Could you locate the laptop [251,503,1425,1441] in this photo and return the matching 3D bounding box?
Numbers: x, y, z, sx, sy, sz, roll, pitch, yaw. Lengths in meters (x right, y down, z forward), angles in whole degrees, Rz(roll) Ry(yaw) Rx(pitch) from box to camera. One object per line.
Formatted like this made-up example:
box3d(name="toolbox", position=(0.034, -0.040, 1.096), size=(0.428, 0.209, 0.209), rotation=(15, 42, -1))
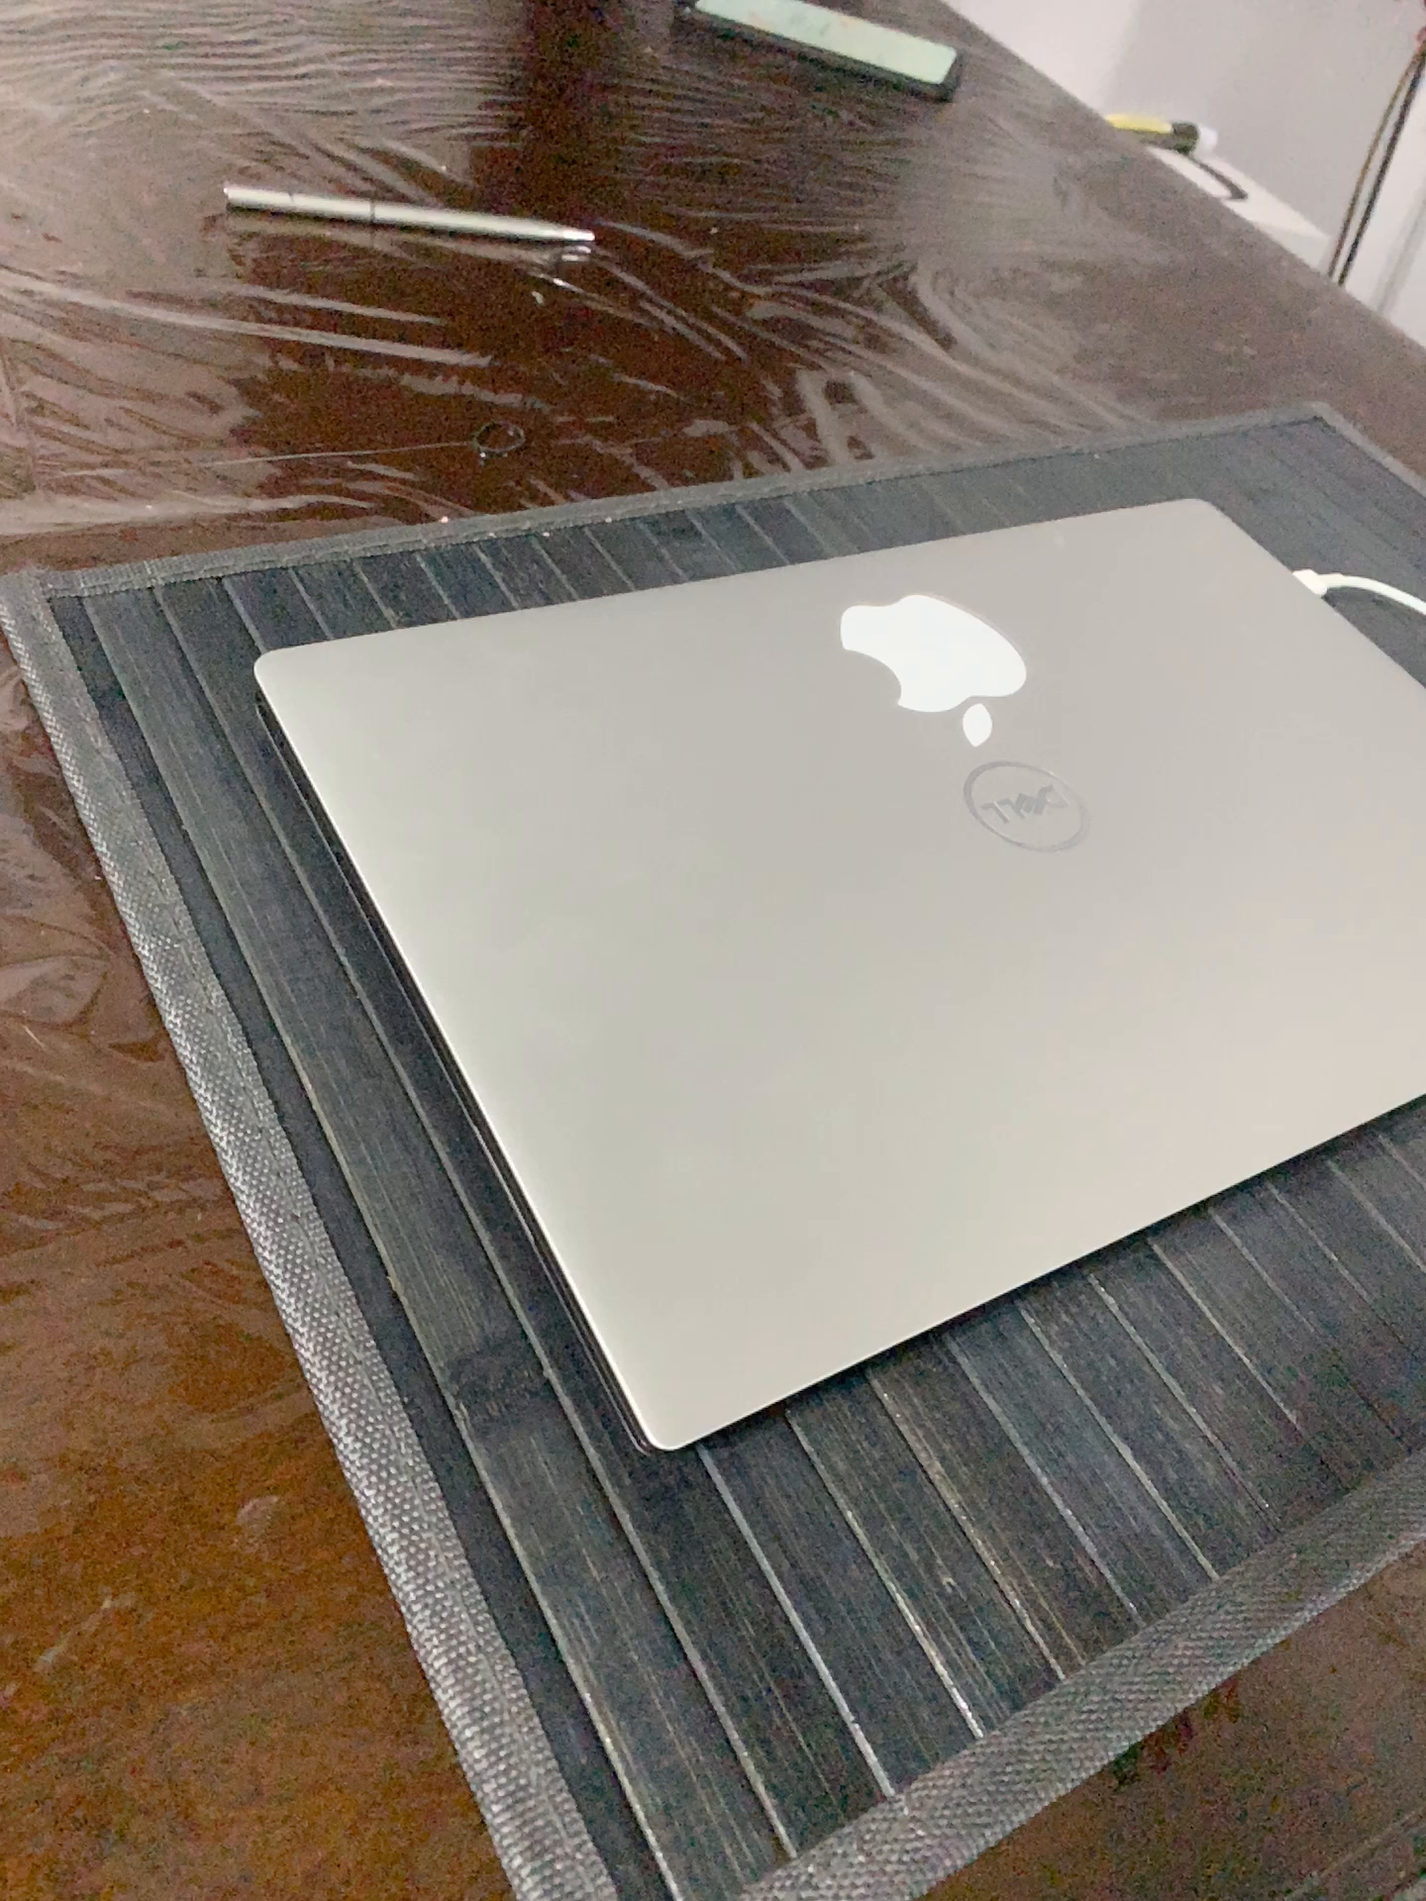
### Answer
box3d(name="laptop", position=(0.064, -0.030, 0.325), size=(0.272, 0.001, 0.188), rotation=(-17, 55, -27))
